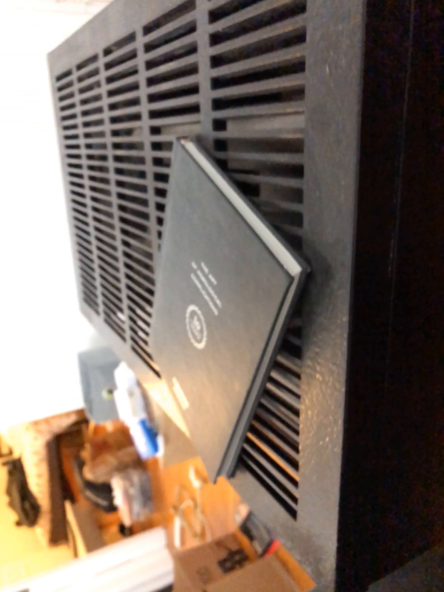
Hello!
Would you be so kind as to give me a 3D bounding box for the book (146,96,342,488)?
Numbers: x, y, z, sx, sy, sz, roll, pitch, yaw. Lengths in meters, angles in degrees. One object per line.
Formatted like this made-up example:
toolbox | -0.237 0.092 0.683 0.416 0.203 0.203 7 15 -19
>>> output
book | -0.008 0.007 0.375 0.160 0.020 0.250 56 145 39
